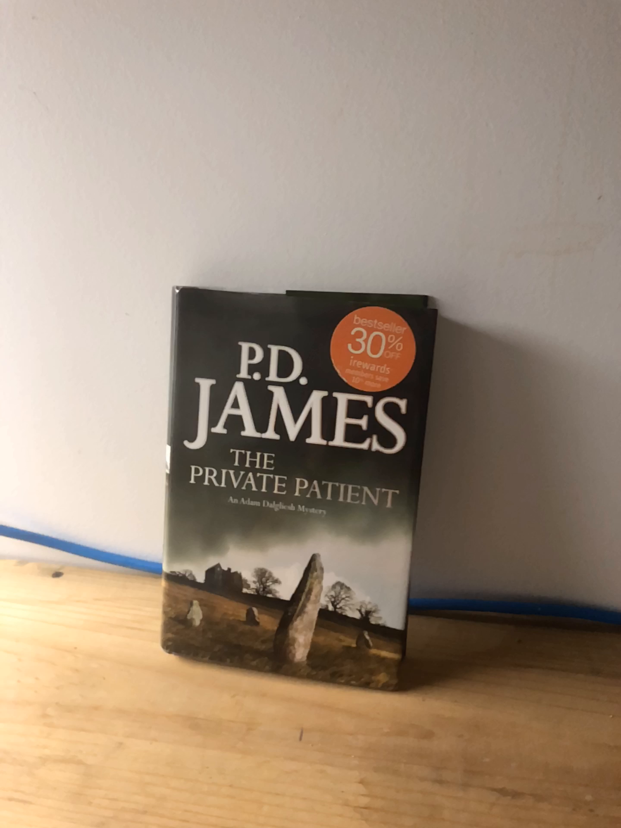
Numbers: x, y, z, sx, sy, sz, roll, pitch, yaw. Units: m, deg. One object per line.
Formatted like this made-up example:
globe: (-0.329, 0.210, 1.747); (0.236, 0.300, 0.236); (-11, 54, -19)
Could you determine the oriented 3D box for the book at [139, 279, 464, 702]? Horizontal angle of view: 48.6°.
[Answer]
book: (-0.010, 0.040, 0.420); (0.180, 0.230, 0.040); (6, 8, 15)
